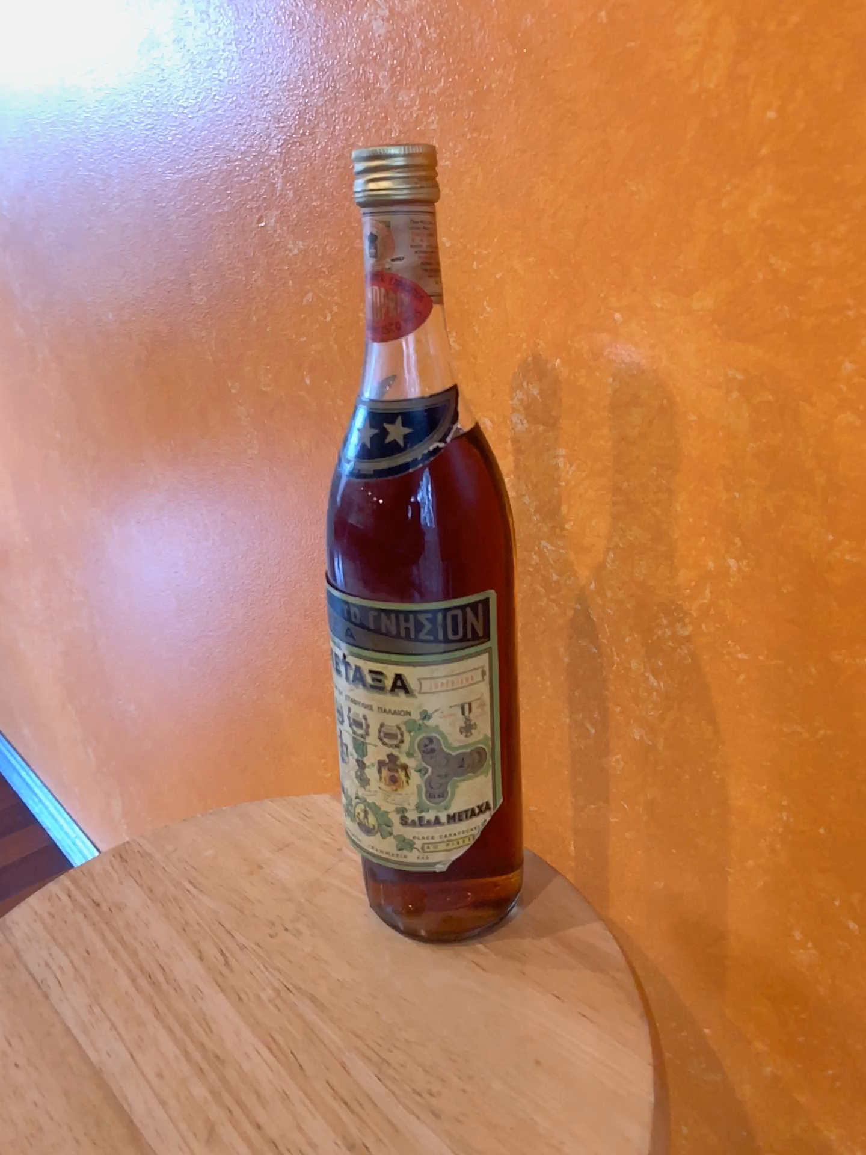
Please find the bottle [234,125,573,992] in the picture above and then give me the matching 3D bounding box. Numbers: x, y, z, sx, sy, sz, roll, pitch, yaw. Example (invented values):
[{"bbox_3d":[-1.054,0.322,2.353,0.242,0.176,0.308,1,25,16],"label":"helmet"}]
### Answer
[{"bbox_3d":[-0.002,0.001,0.335,0.070,0.299,0.080,-21,27,-35],"label":"bottle"}]
